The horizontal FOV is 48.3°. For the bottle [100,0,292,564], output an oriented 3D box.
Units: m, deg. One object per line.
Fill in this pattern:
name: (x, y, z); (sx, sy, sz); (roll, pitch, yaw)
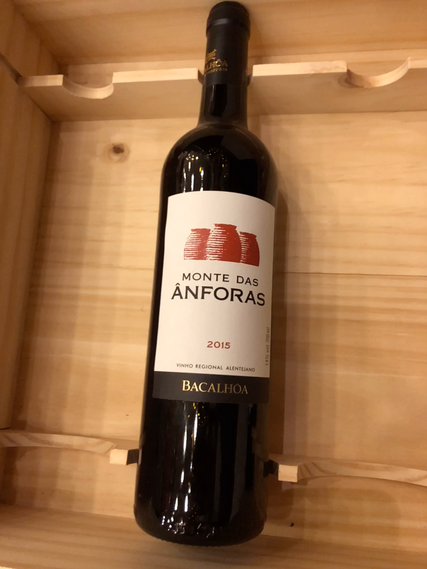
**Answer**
bottle: (0.000, -0.029, 0.275); (0.080, 0.060, 0.320); (2, 81, 9)
